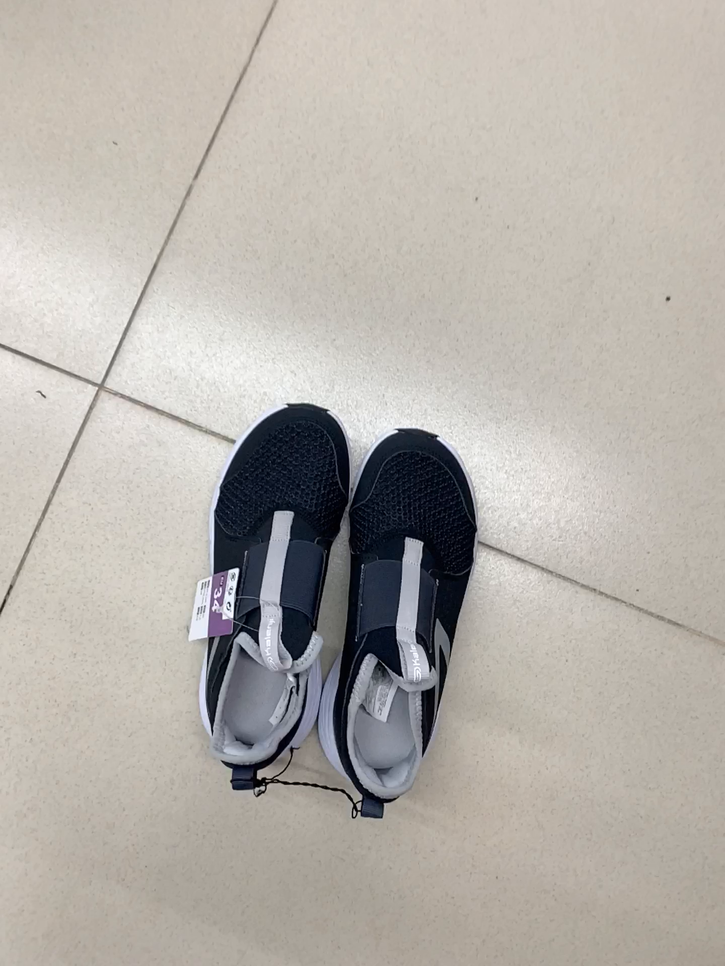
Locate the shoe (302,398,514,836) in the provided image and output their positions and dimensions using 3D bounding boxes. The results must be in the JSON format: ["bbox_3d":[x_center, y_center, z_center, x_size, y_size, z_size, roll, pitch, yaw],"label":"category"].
[{"bbox_3d":[0.028,0.081,0.488,0.090,0.080,0.250,9,85,-1],"label":"shoe"}]

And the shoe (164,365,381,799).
[{"bbox_3d":[-0.054,0.060,0.489,0.090,0.080,0.250,9,85,-1],"label":"shoe"}]
